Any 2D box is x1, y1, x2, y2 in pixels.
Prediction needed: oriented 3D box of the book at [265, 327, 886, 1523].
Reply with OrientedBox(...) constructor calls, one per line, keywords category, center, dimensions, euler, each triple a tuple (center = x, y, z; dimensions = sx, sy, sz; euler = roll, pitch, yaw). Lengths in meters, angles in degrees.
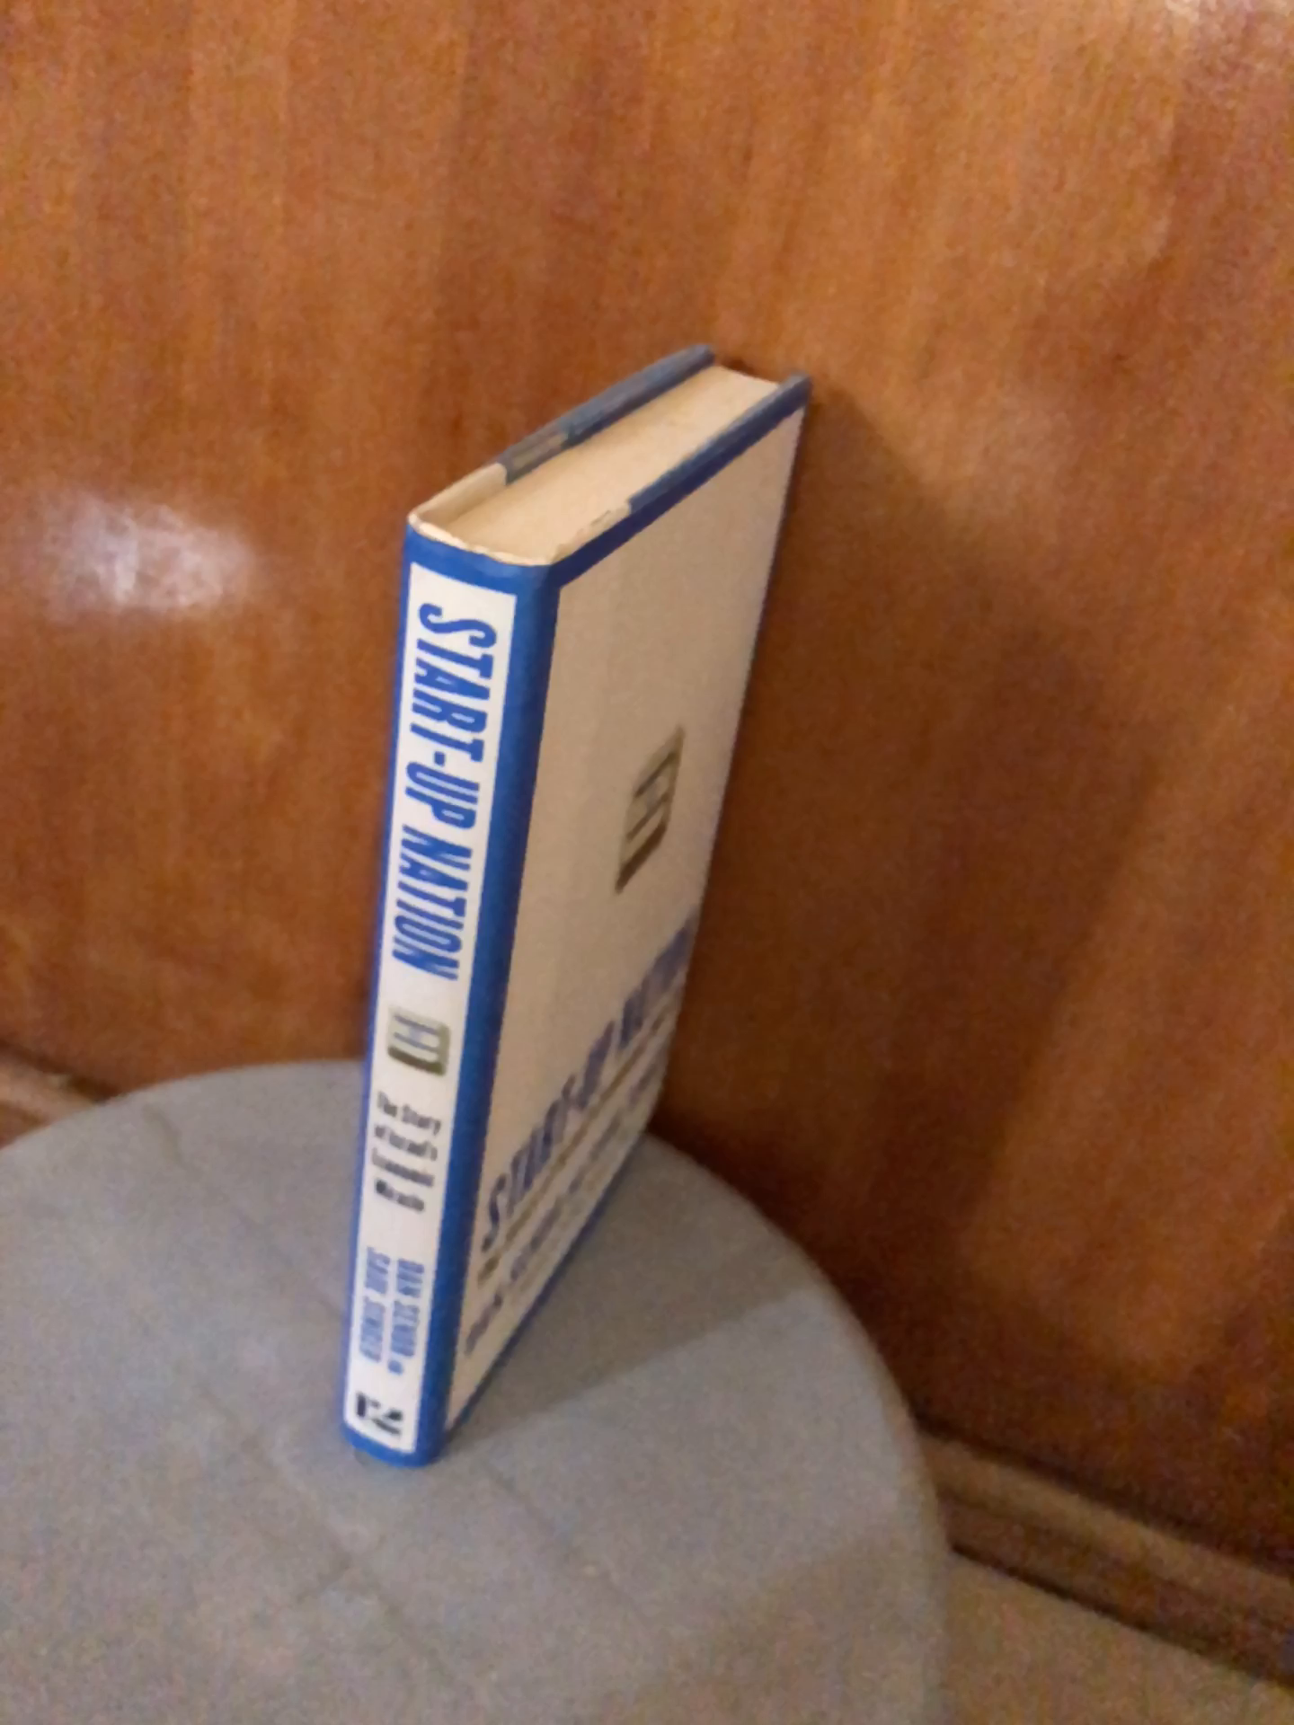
OrientedBox(category="book", center=(-0.013, 0.003, 0.359), dimensions=(0.040, 0.229, 0.201), euler=(20, 31, 16))
